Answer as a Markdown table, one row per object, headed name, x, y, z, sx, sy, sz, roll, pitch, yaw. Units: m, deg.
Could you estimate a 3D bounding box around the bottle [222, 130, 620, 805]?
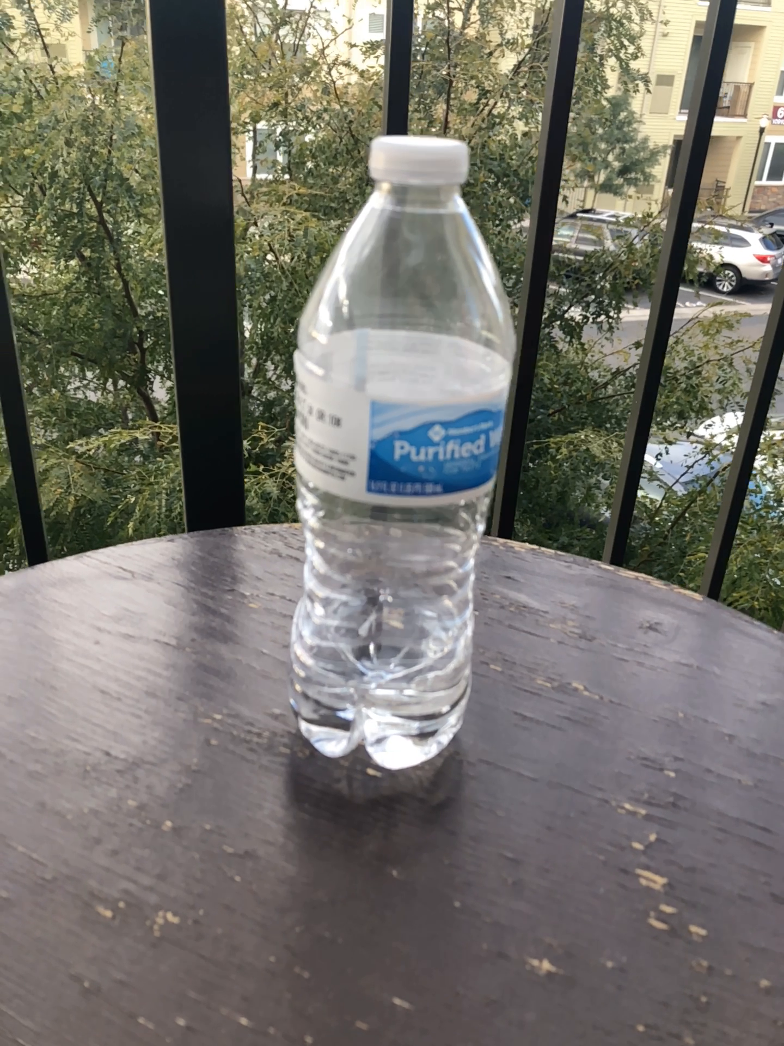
| name | x | y | z | sx | sy | sz | roll | pitch | yaw |
| --- | --- | --- | --- | --- | --- | --- | --- | --- | --- |
| bottle | 0.002 | -0.020 | 0.277 | 0.075 | 0.189 | 0.080 | 2 | 28 | -1 |
